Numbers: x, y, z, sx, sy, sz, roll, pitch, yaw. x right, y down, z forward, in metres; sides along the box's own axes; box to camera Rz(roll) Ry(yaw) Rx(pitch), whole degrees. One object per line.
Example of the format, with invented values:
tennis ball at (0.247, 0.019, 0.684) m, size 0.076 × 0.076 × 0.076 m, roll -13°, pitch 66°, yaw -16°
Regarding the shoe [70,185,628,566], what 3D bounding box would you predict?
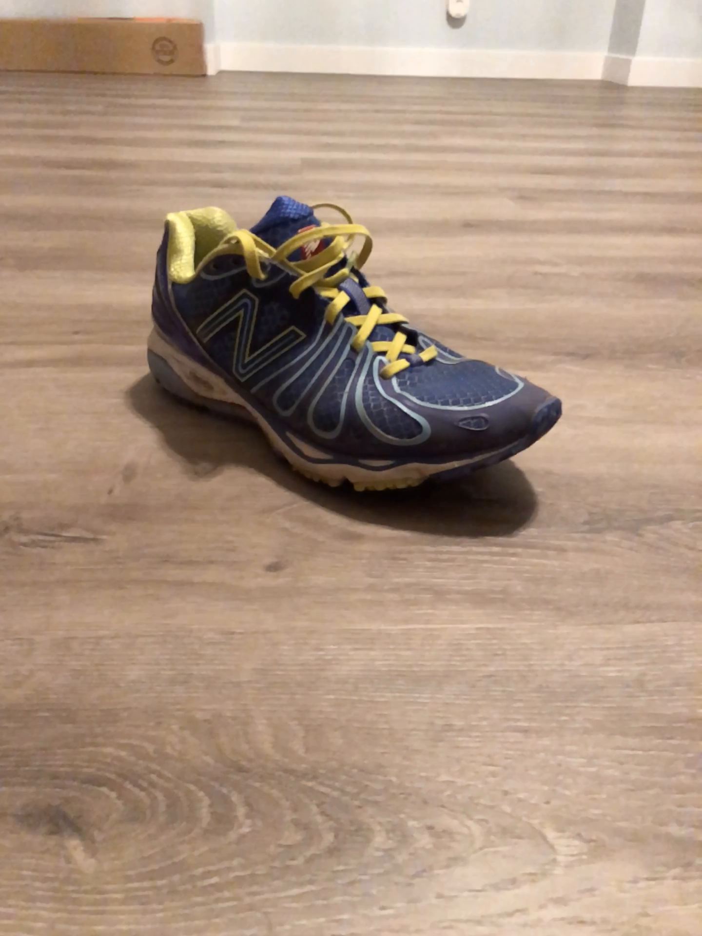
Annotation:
shoe at (-0.013, -0.066, 0.391) m, size 0.250 × 0.099 × 0.110 m, roll 23°, pitch 36°, yaw 33°
